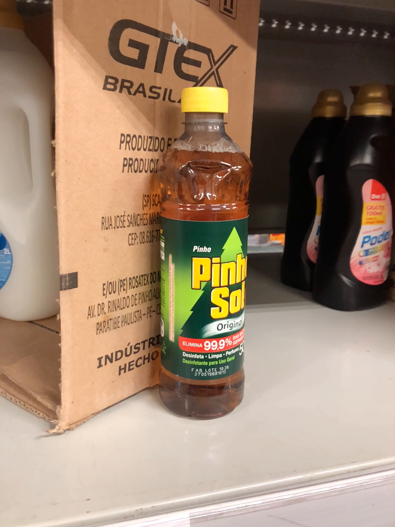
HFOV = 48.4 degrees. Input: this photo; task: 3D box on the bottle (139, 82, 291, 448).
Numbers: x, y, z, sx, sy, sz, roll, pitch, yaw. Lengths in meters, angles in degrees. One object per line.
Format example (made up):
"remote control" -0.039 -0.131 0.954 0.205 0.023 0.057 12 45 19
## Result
"bottle" 0.008 0.000 0.299 0.070 0.219 0.060 -11 20 -43
